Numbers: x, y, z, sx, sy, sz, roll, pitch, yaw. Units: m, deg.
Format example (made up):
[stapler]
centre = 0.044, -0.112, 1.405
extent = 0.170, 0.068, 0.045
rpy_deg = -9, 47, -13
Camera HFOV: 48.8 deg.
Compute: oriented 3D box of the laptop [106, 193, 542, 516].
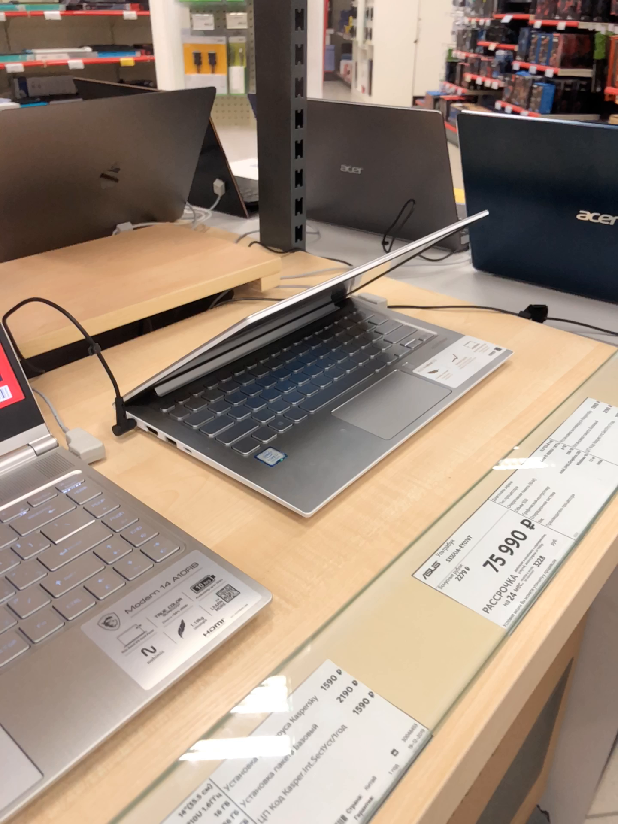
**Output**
[laptop]
centre = 0.027, -0.078, 0.570
extent = 0.197, 0.119, 0.310
rpy_deg = 23, 37, 33
